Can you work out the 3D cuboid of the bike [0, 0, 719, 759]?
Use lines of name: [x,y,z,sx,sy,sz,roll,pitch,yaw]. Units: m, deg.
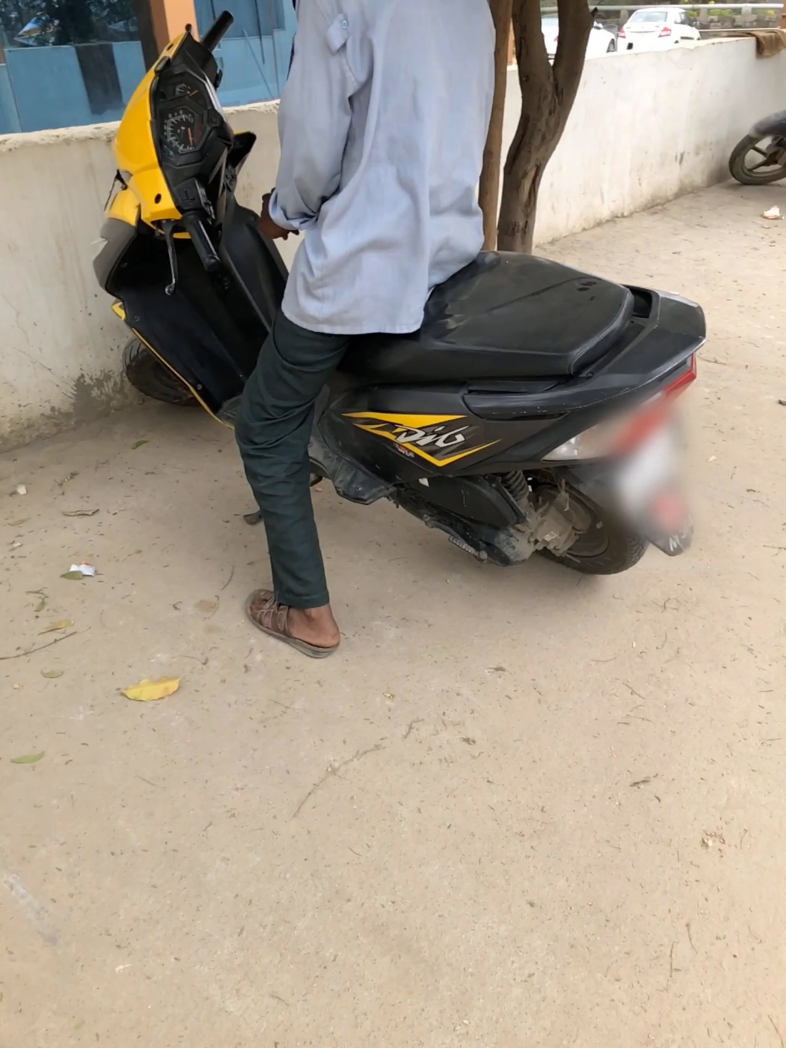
bike: [-0.284,-0.457,1.813,1.570,1.145,0.638,19,37,26]
